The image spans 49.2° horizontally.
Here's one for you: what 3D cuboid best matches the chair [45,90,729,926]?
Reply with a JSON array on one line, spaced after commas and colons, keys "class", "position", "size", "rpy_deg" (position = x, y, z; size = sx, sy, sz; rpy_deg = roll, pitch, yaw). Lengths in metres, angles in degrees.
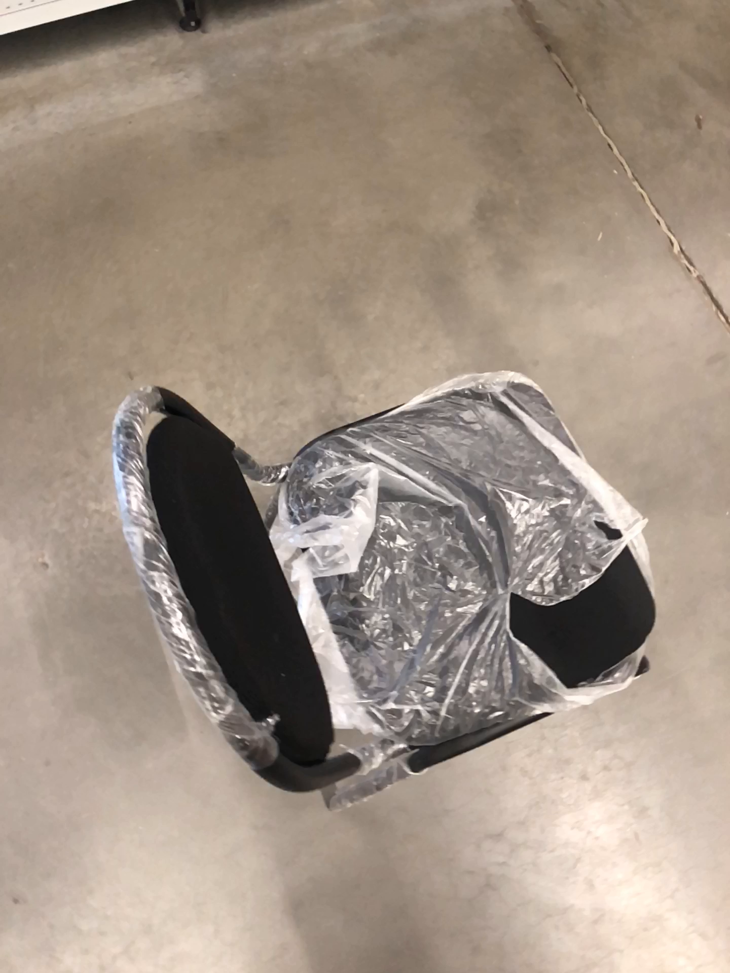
[{"class": "chair", "position": [0.088, 0.106, 0.973], "size": [0.550, 0.877, 0.451], "rpy_deg": [-20, 72, -10]}]
